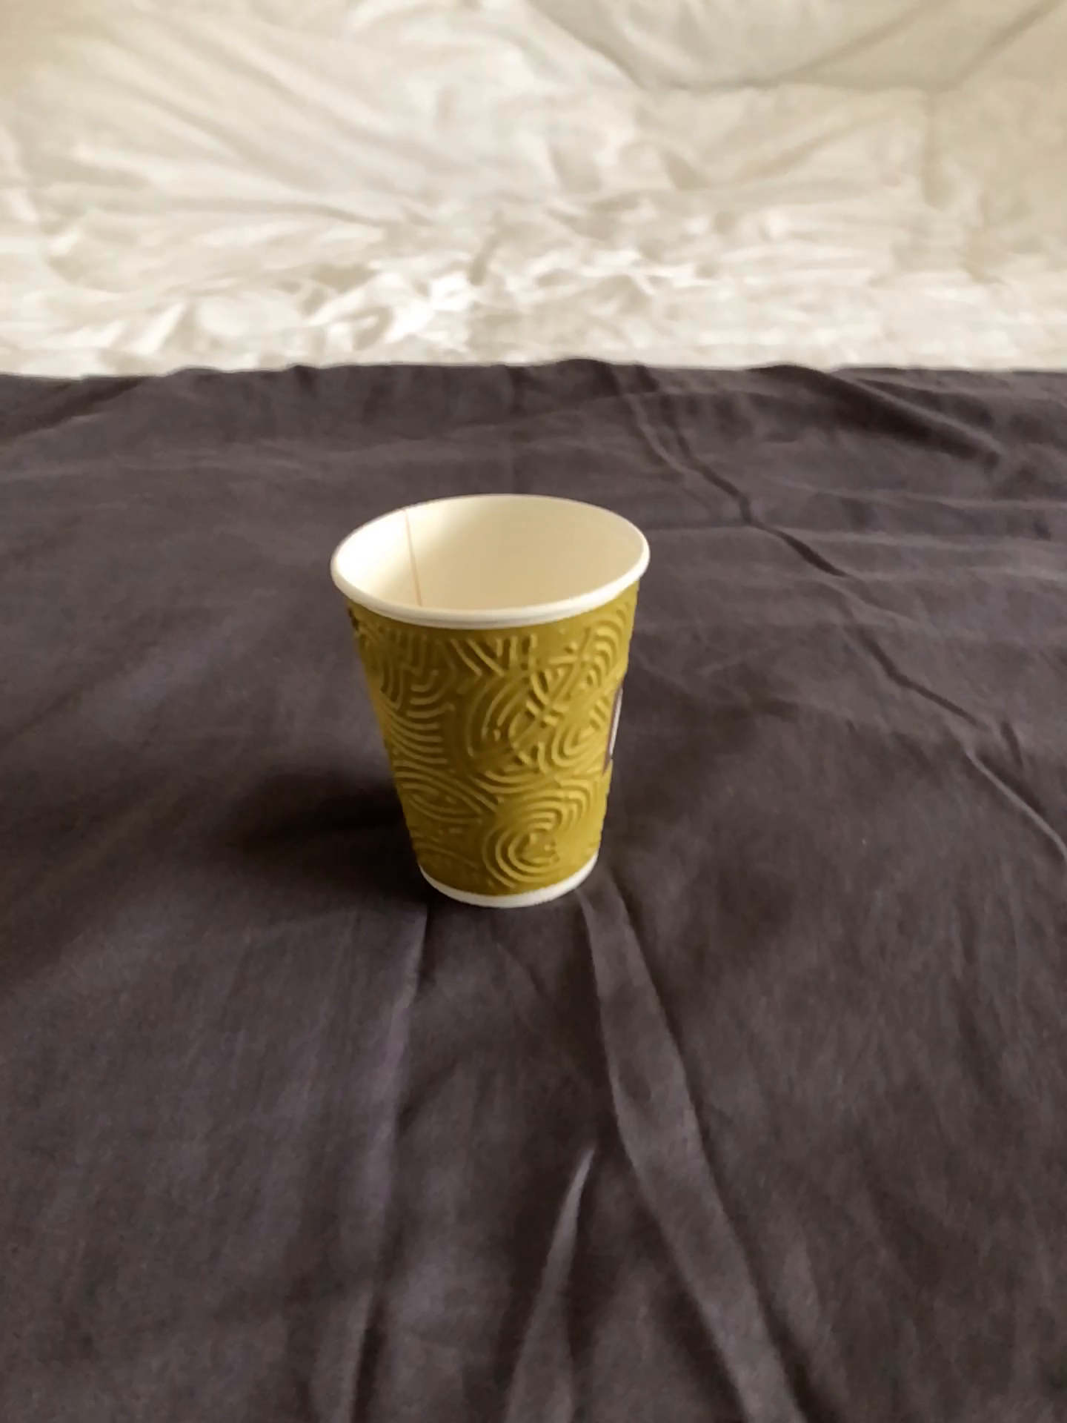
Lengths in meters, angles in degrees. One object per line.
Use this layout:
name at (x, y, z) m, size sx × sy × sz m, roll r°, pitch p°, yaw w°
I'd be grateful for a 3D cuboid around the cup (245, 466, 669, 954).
cup at (-0.012, -0.006, 0.351) m, size 0.098 × 0.101 × 0.108 m, roll -2°, pitch 30°, yaw 1°
